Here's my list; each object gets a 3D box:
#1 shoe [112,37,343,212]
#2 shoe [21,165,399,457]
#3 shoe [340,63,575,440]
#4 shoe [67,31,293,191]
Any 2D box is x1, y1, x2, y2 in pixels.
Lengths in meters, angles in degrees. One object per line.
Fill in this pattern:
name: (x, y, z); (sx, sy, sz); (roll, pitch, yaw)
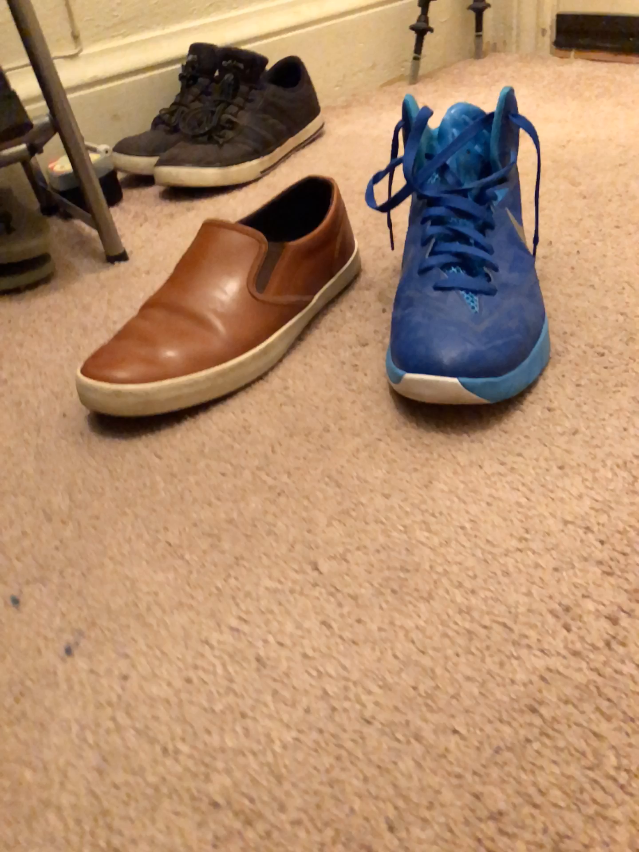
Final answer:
shoe: (-0.098, -0.382, 0.870); (0.115, 0.112, 0.293); (14, 44, 28)
shoe: (-0.064, -0.106, 0.541); (0.105, 0.083, 0.283); (21, 47, 34)
shoe: (0.108, -0.141, 0.503); (0.115, 0.142, 0.294); (2, 39, 15)
shoe: (-0.169, -0.425, 0.933); (0.115, 0.112, 0.293); (14, 44, 28)
